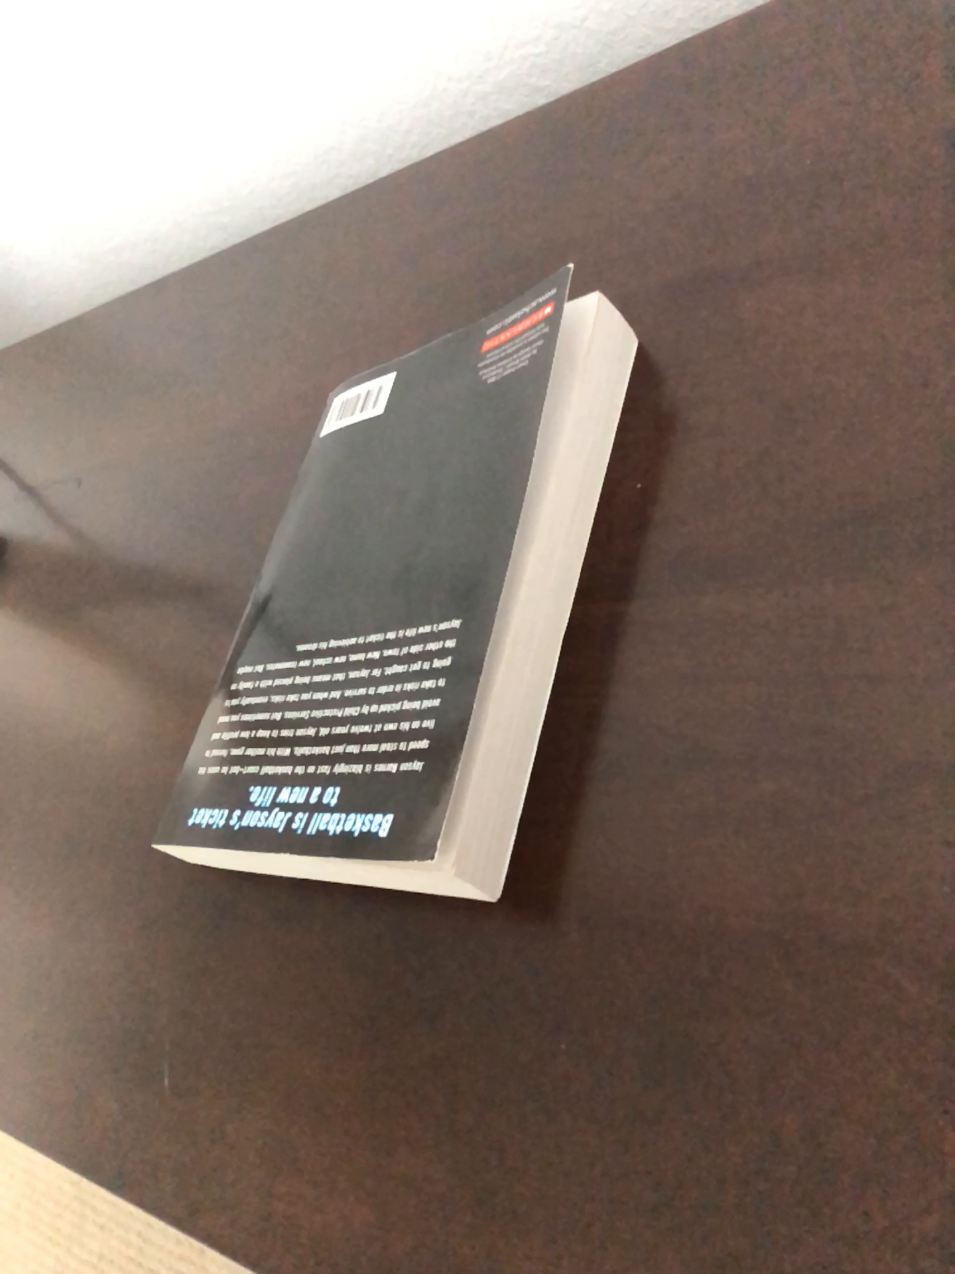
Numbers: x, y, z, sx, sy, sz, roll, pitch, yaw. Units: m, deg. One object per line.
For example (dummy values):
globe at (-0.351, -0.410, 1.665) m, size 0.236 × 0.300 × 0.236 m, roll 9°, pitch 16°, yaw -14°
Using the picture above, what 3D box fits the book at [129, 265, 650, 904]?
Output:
book at (-0.029, -0.017, 0.358) m, size 0.140 × 0.036 × 0.198 m, roll -8°, pitch 56°, yaw 43°
